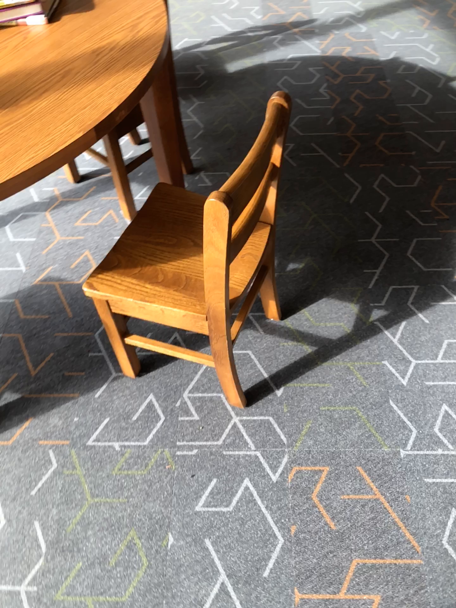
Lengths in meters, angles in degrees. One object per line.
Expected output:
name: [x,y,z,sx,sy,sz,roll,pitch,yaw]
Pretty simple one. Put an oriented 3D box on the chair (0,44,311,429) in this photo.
chair: [-0.090,-0.100,1.052,0.391,0.666,0.372,14,54,14]
